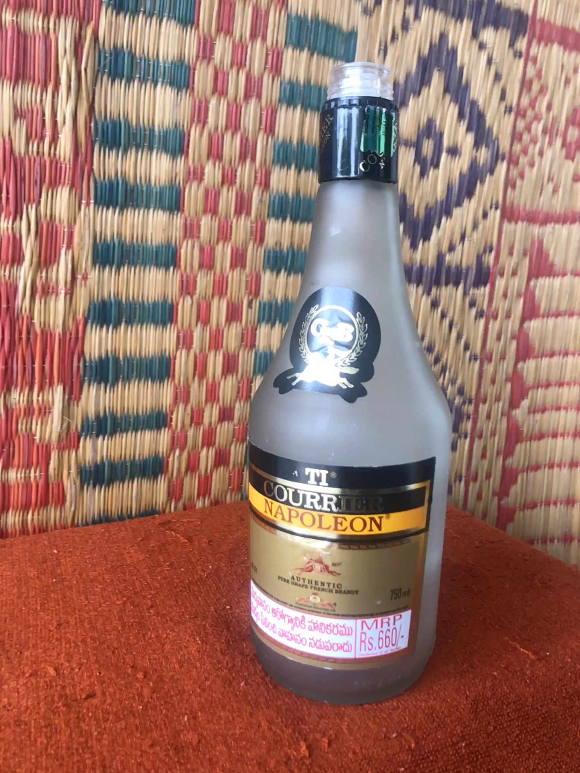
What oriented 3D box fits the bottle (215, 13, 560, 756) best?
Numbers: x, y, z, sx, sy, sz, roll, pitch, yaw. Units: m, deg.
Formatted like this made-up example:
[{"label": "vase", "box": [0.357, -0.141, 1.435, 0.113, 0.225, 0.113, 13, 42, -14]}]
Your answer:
[{"label": "bottle", "box": [0.040, -0.001, 0.270, 0.100, 0.249, 0.090, 9, 13, 22]}]
